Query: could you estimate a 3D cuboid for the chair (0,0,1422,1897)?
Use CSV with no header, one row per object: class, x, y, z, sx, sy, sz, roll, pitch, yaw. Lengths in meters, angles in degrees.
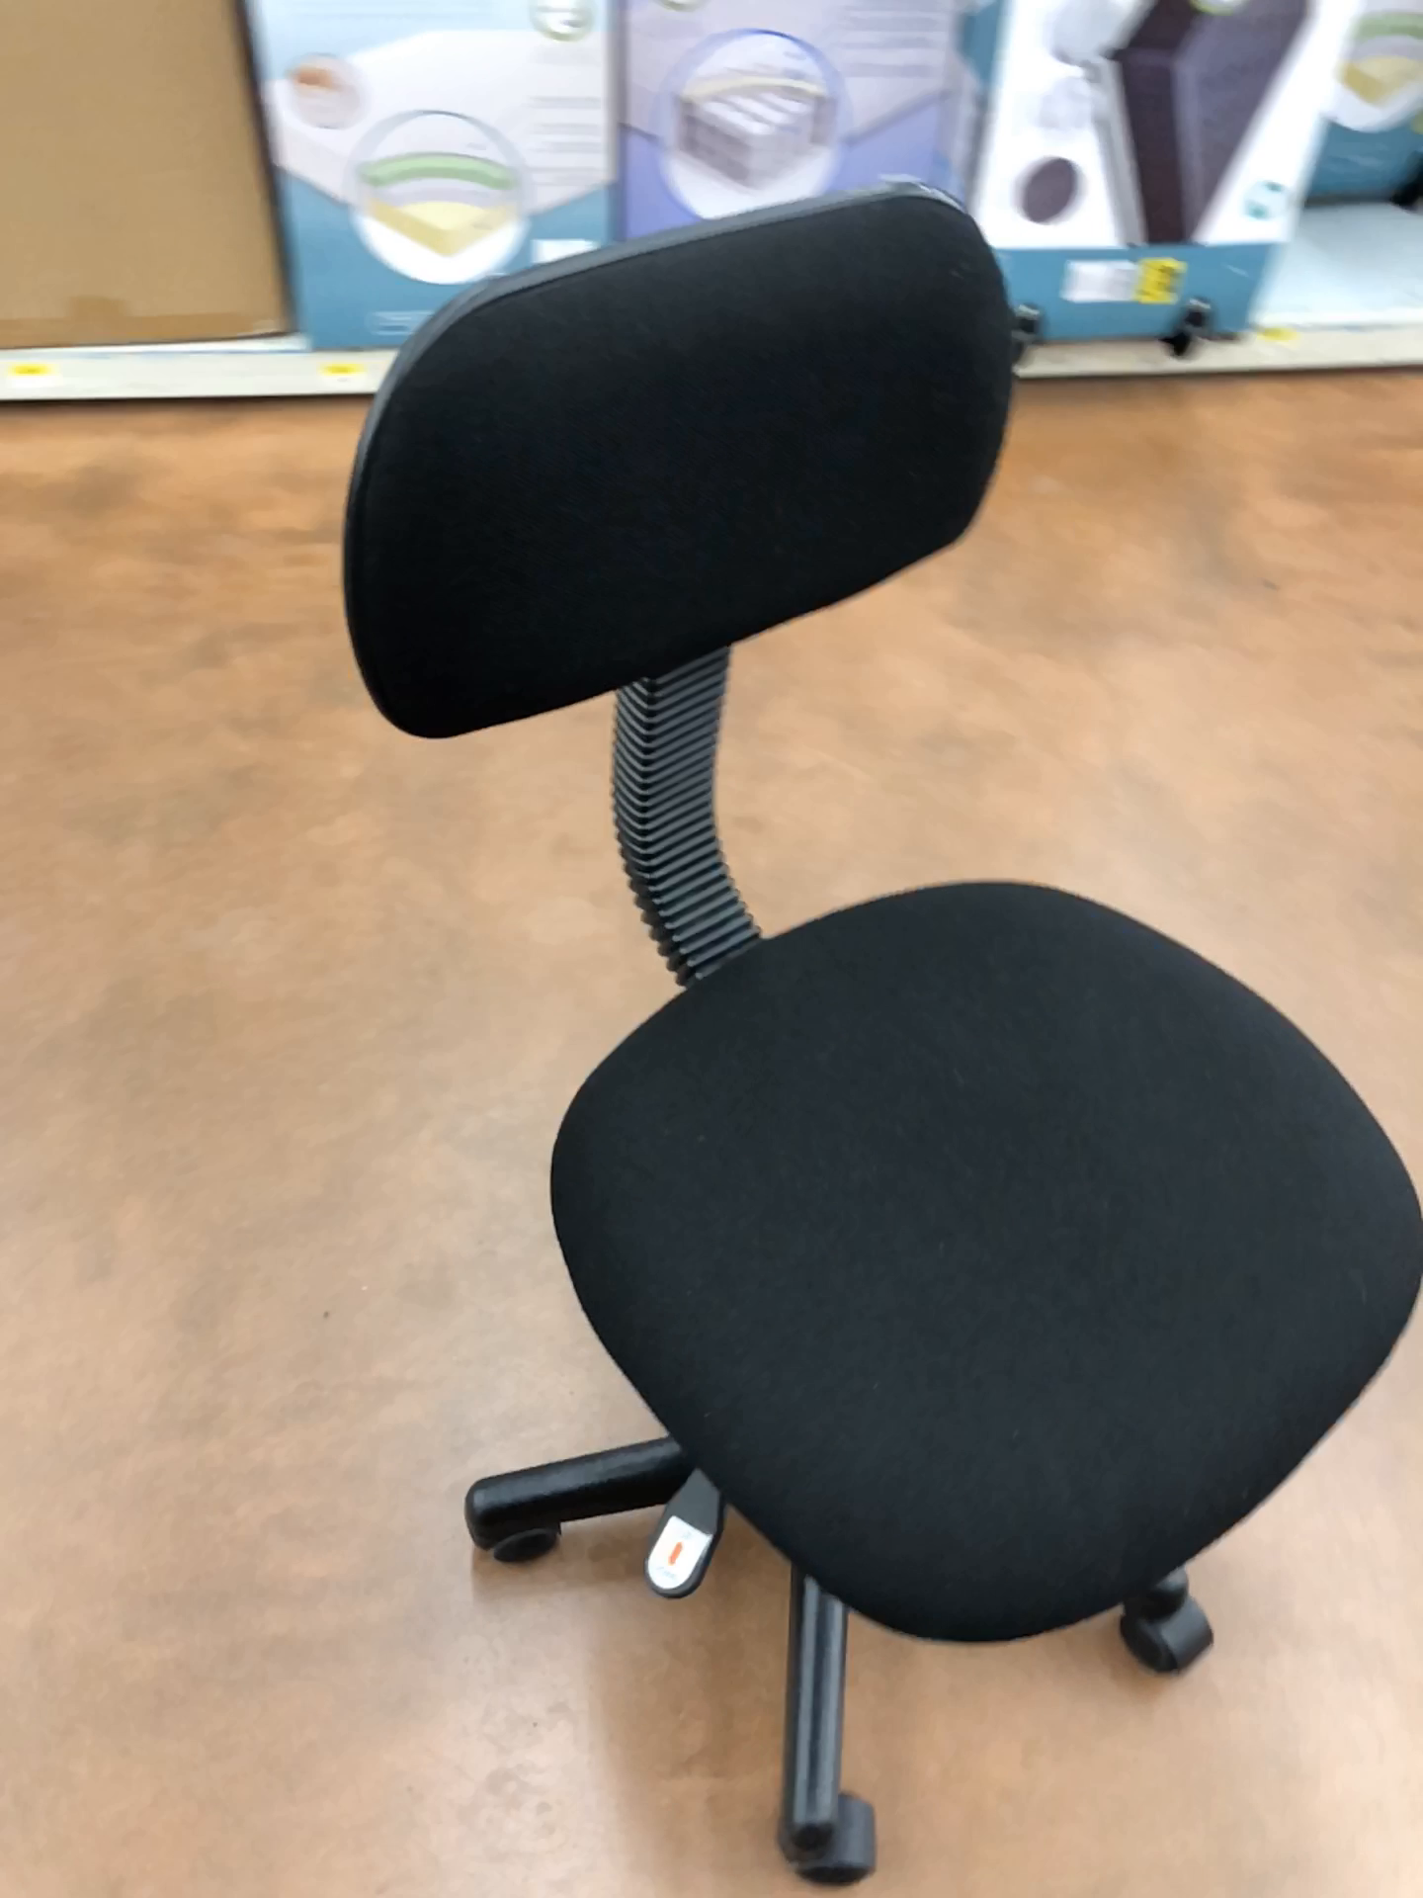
chair,0.122,0.060,0.885,0.671,0.798,0.661,-26,55,-24
